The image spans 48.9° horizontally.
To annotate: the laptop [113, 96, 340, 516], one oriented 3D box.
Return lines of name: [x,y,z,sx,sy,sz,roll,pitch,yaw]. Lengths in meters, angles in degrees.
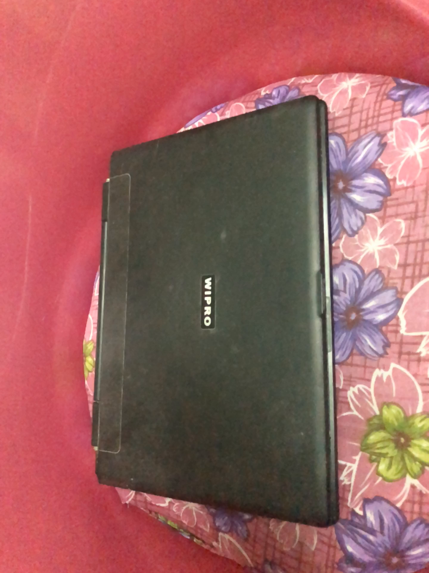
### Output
laptop: [-0.001,0.012,0.422,0.221,0.006,0.322,-4,81,33]
